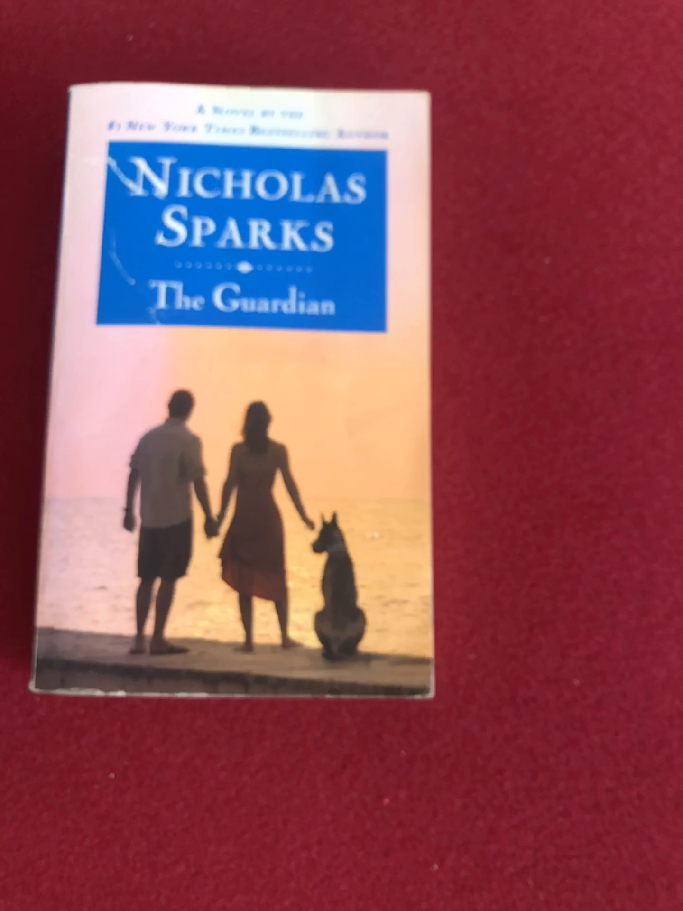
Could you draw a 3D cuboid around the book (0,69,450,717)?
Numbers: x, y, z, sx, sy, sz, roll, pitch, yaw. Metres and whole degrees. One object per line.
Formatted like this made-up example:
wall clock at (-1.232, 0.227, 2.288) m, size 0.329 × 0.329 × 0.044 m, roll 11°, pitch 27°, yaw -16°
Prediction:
book at (-0.027, -0.019, 0.216) m, size 0.110 × 0.030 × 0.170 m, roll 2°, pitch 79°, yaw -2°
